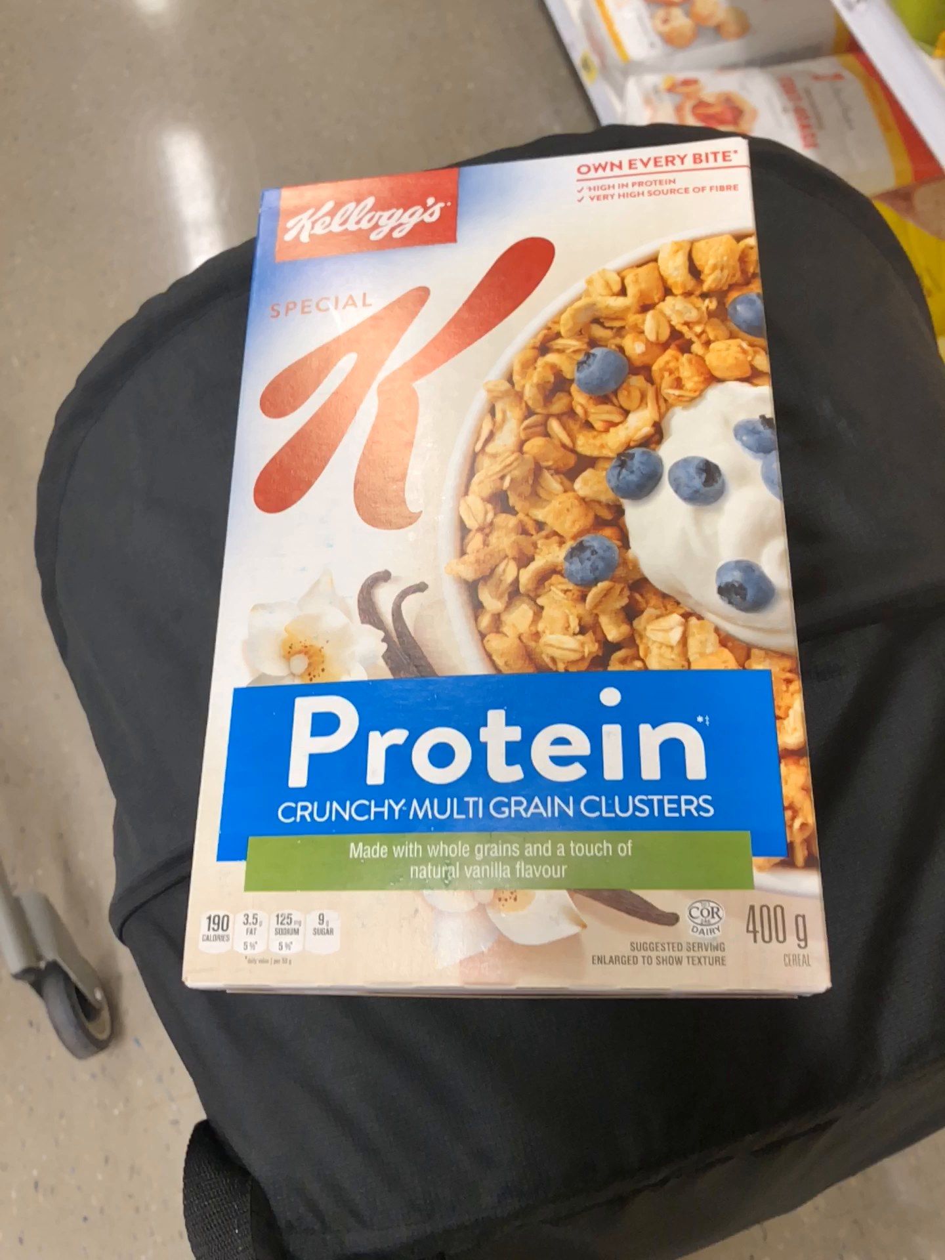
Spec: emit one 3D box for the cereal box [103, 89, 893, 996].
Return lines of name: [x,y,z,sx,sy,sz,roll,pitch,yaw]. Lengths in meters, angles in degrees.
cereal box: [0.008,-0.034,0.323,0.190,0.050,0.270,-2,68,10]
